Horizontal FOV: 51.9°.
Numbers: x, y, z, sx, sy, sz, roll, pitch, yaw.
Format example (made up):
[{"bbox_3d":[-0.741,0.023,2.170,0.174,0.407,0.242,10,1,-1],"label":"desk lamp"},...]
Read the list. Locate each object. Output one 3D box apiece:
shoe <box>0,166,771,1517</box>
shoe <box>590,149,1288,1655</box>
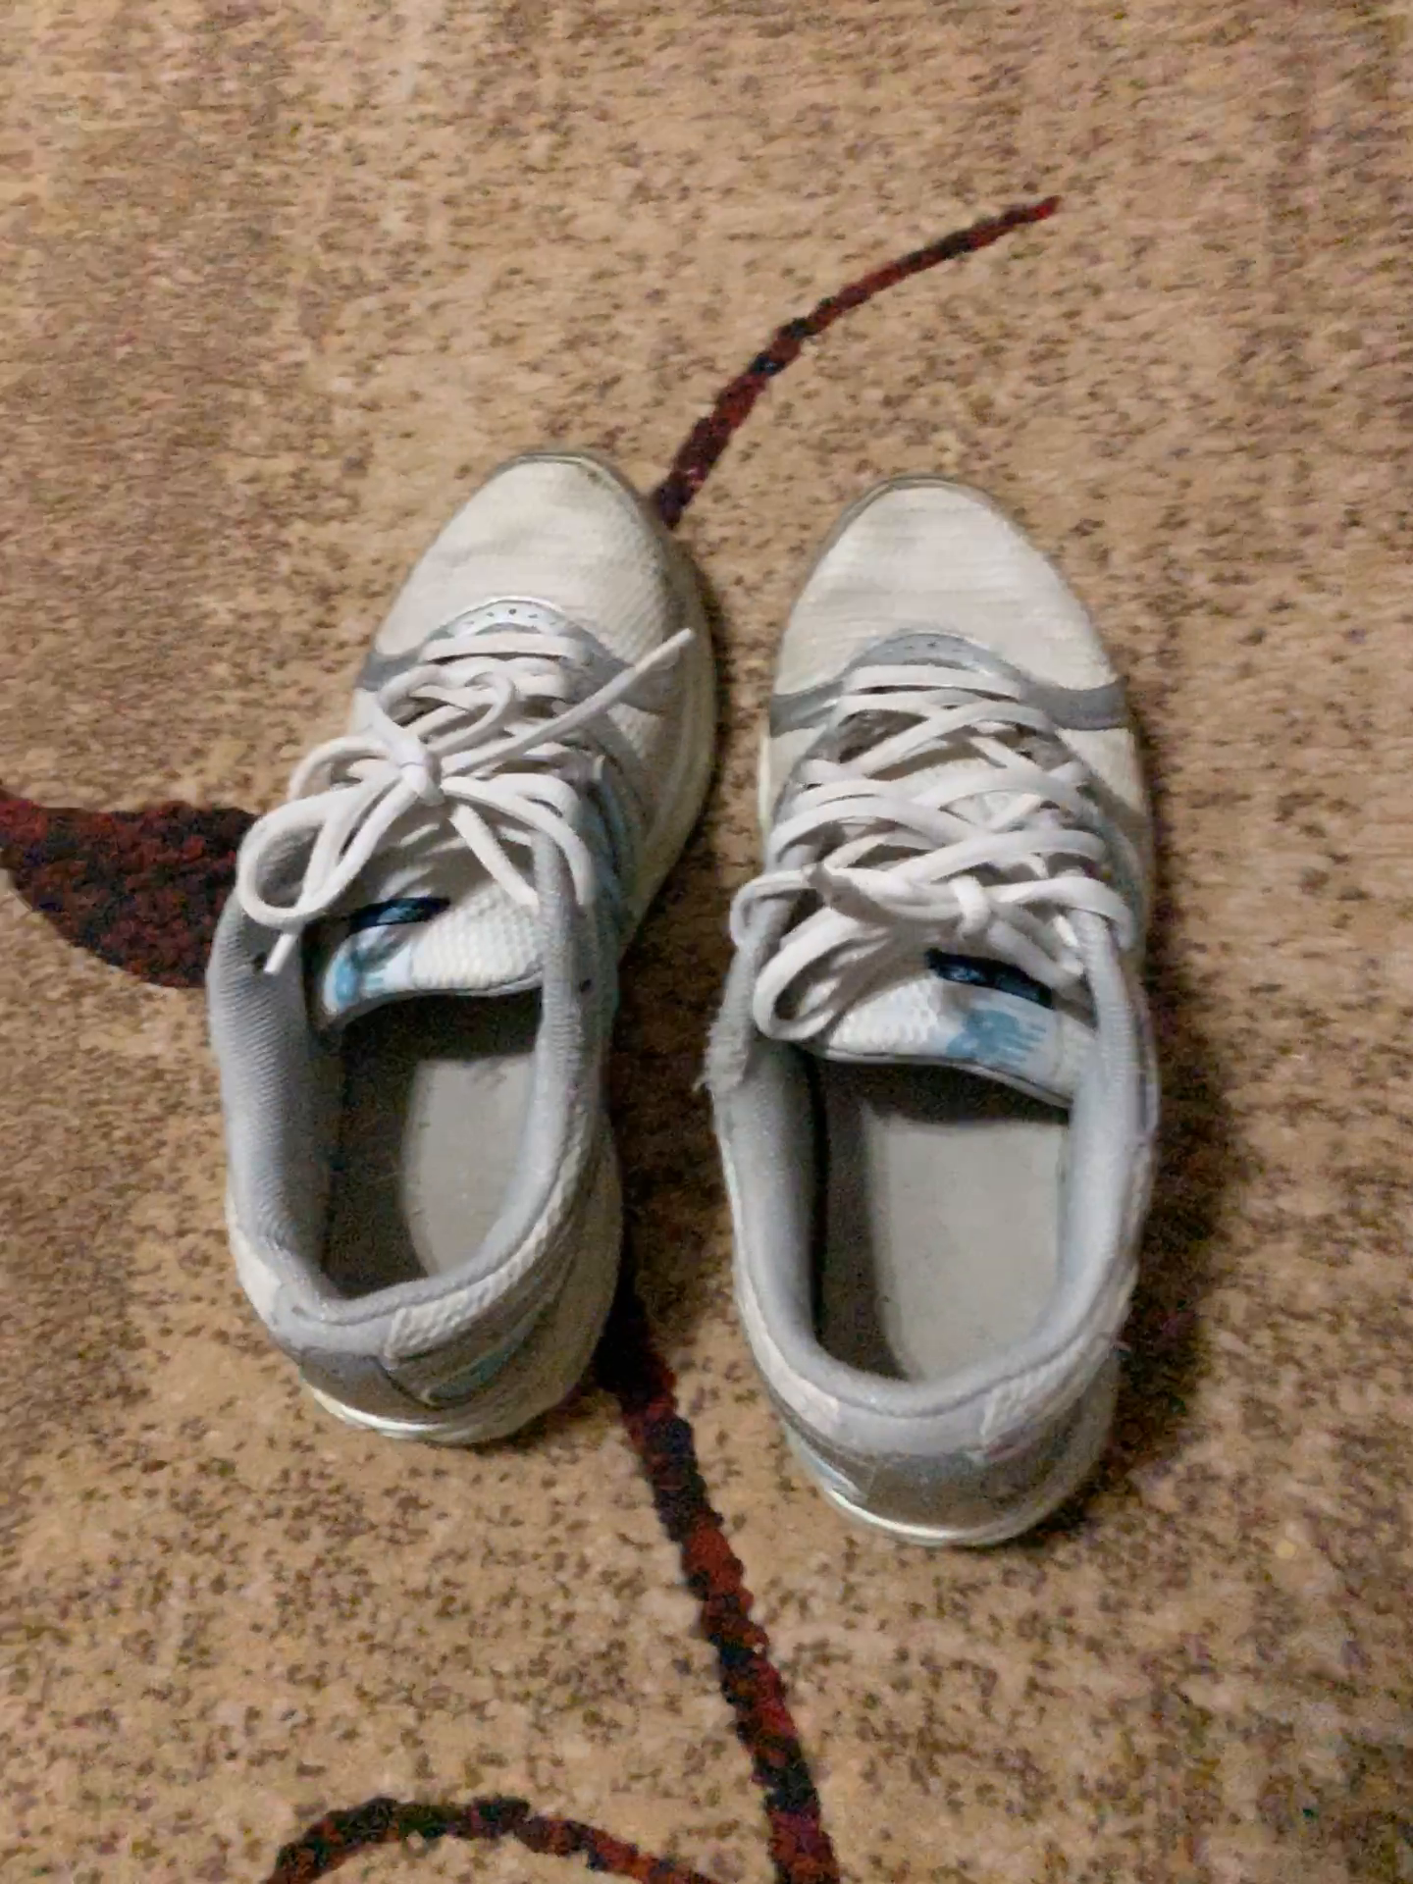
[{"bbox_3d":[-0.061,-0.023,0.348,0.111,0.124,0.283,3,71,12],"label":"shoe"},{"bbox_3d":[0.054,-0.011,0.322,0.104,0.124,0.283,1,71,11],"label":"shoe"}]
